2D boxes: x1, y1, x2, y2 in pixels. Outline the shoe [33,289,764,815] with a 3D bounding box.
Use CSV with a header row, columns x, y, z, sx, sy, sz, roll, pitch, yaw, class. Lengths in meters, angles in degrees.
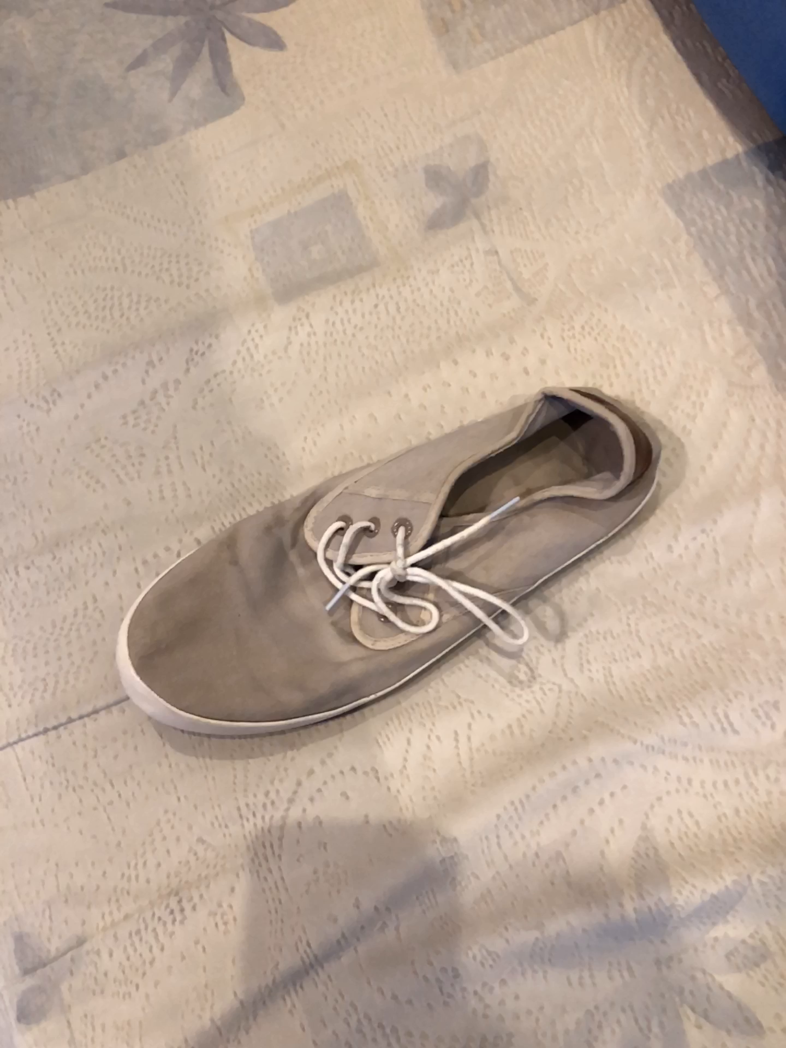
x,y,z,sx,sy,sz,roll,pitch,yaw,class
0.003,0.013,0.383,0.270,0.080,0.110,-24,76,-5,shoe
